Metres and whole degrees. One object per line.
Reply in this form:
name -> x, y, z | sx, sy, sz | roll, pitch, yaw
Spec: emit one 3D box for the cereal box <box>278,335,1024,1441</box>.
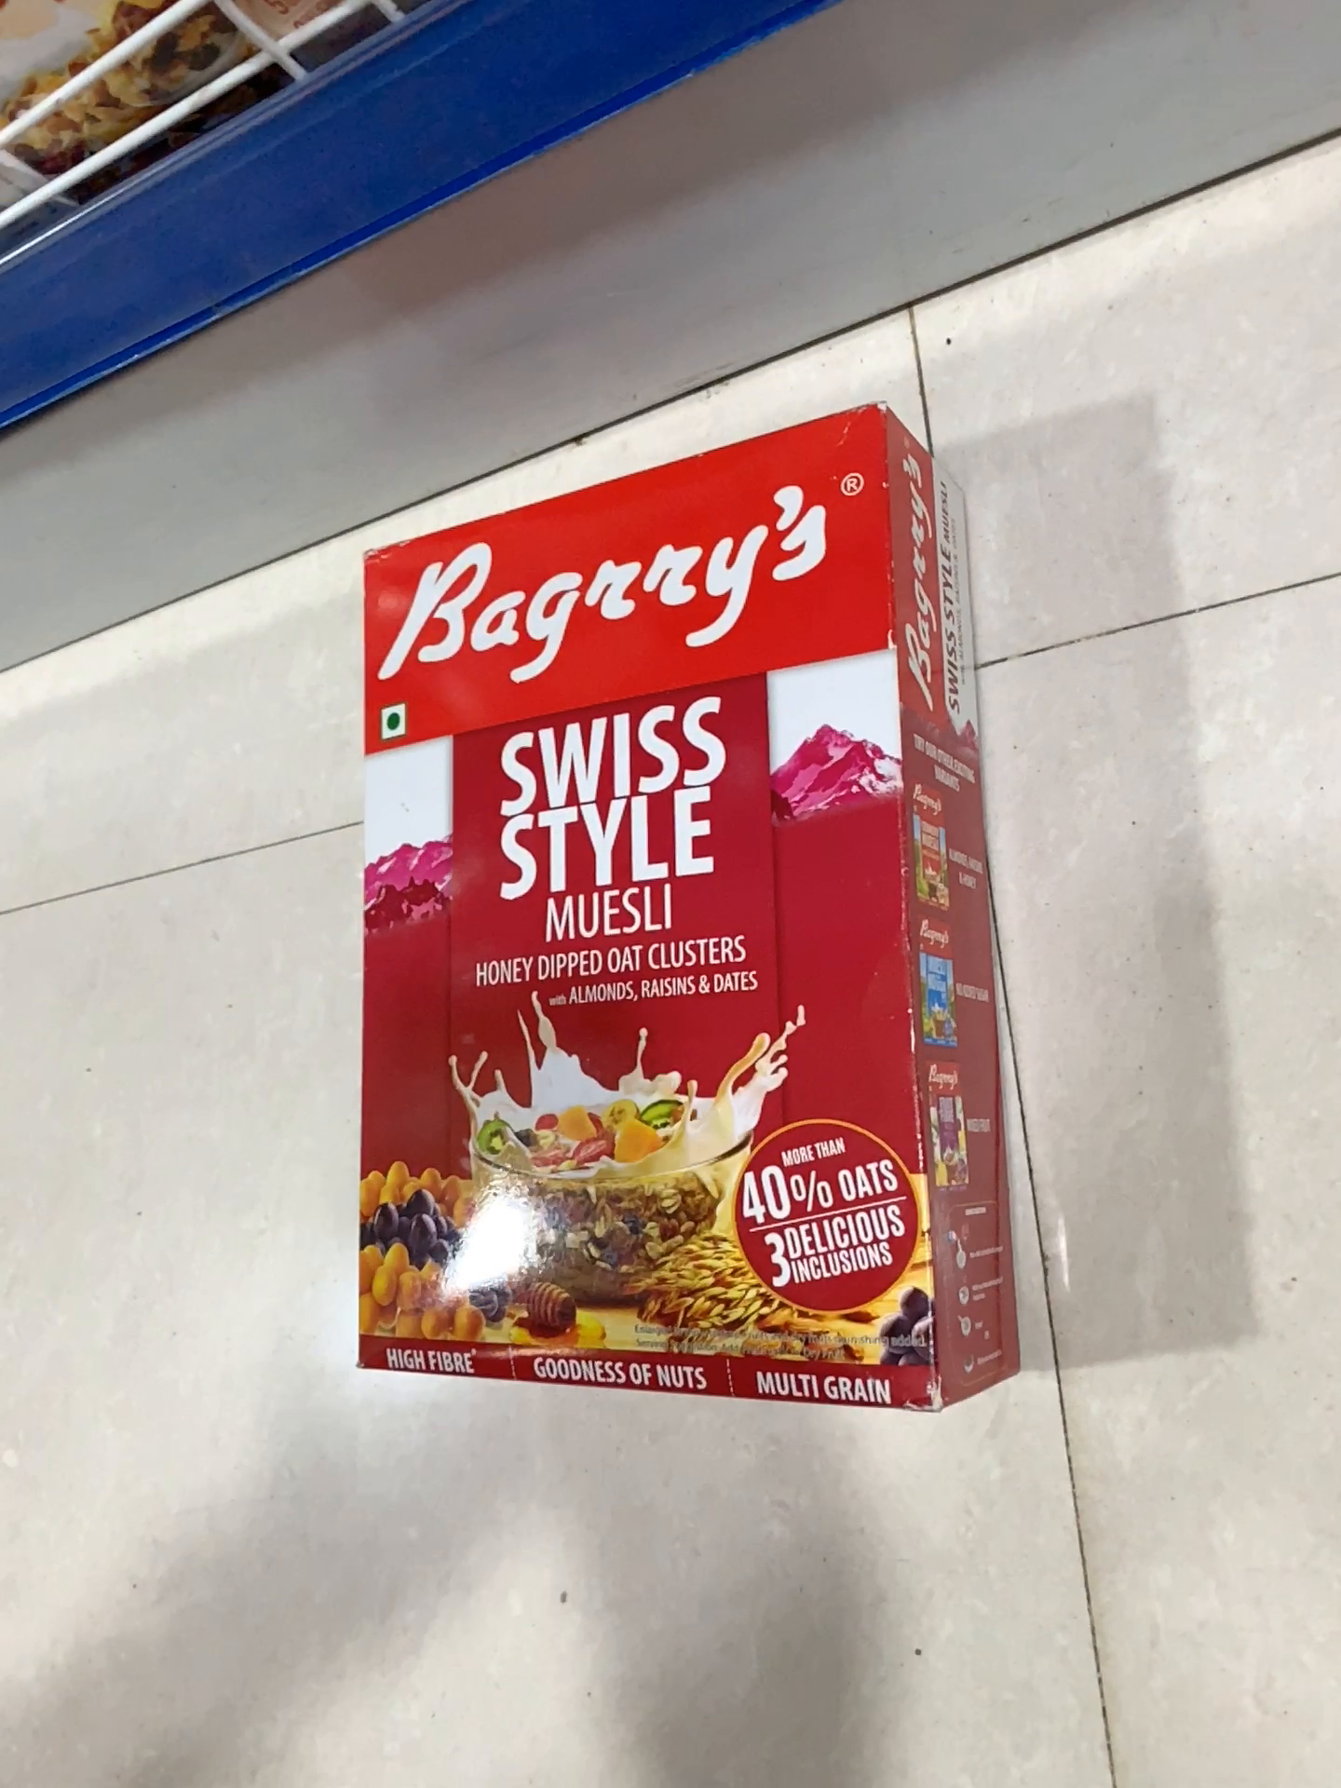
cereal box -> -0.012, 0.005, 0.399 | 0.191, 0.080, 0.260 | -7, 79, 29
